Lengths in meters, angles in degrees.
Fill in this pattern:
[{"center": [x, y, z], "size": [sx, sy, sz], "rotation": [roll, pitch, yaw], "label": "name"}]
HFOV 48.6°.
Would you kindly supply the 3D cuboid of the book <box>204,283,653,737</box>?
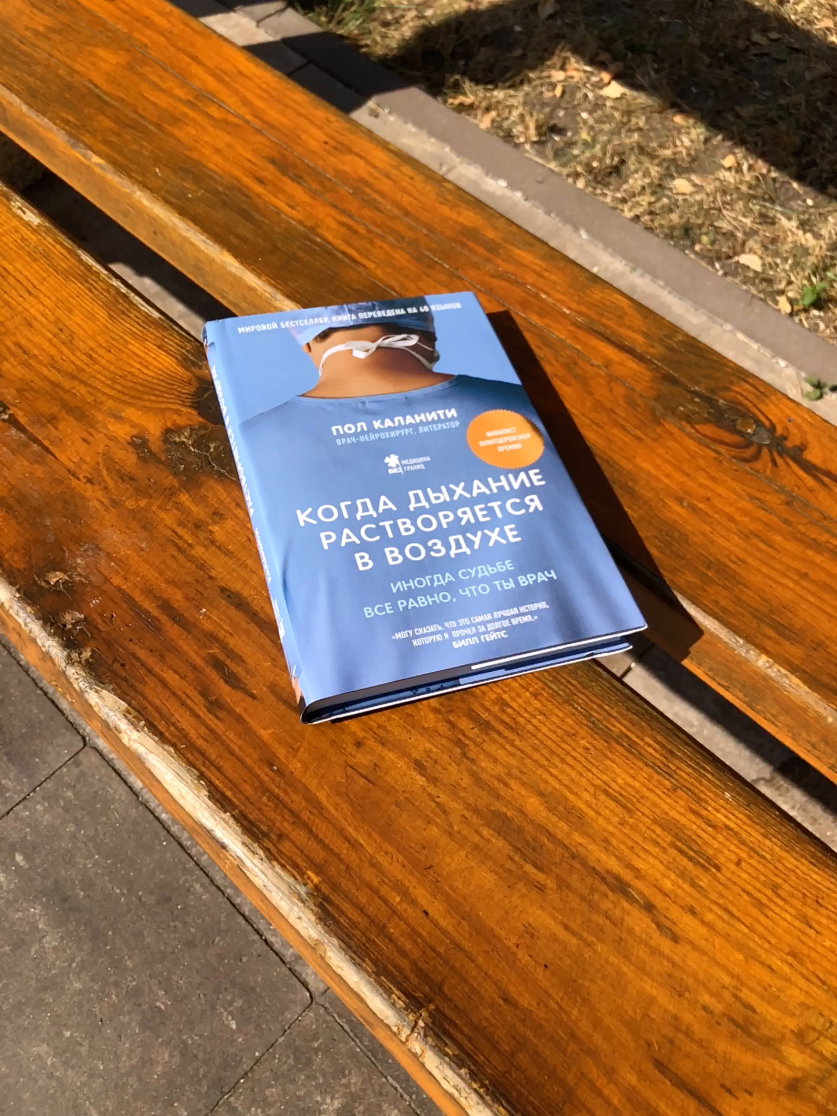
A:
[{"center": [-0.006, -0.037, 0.411], "size": [0.140, 0.025, 0.211], "rotation": [-10, 57, -14], "label": "book"}]
